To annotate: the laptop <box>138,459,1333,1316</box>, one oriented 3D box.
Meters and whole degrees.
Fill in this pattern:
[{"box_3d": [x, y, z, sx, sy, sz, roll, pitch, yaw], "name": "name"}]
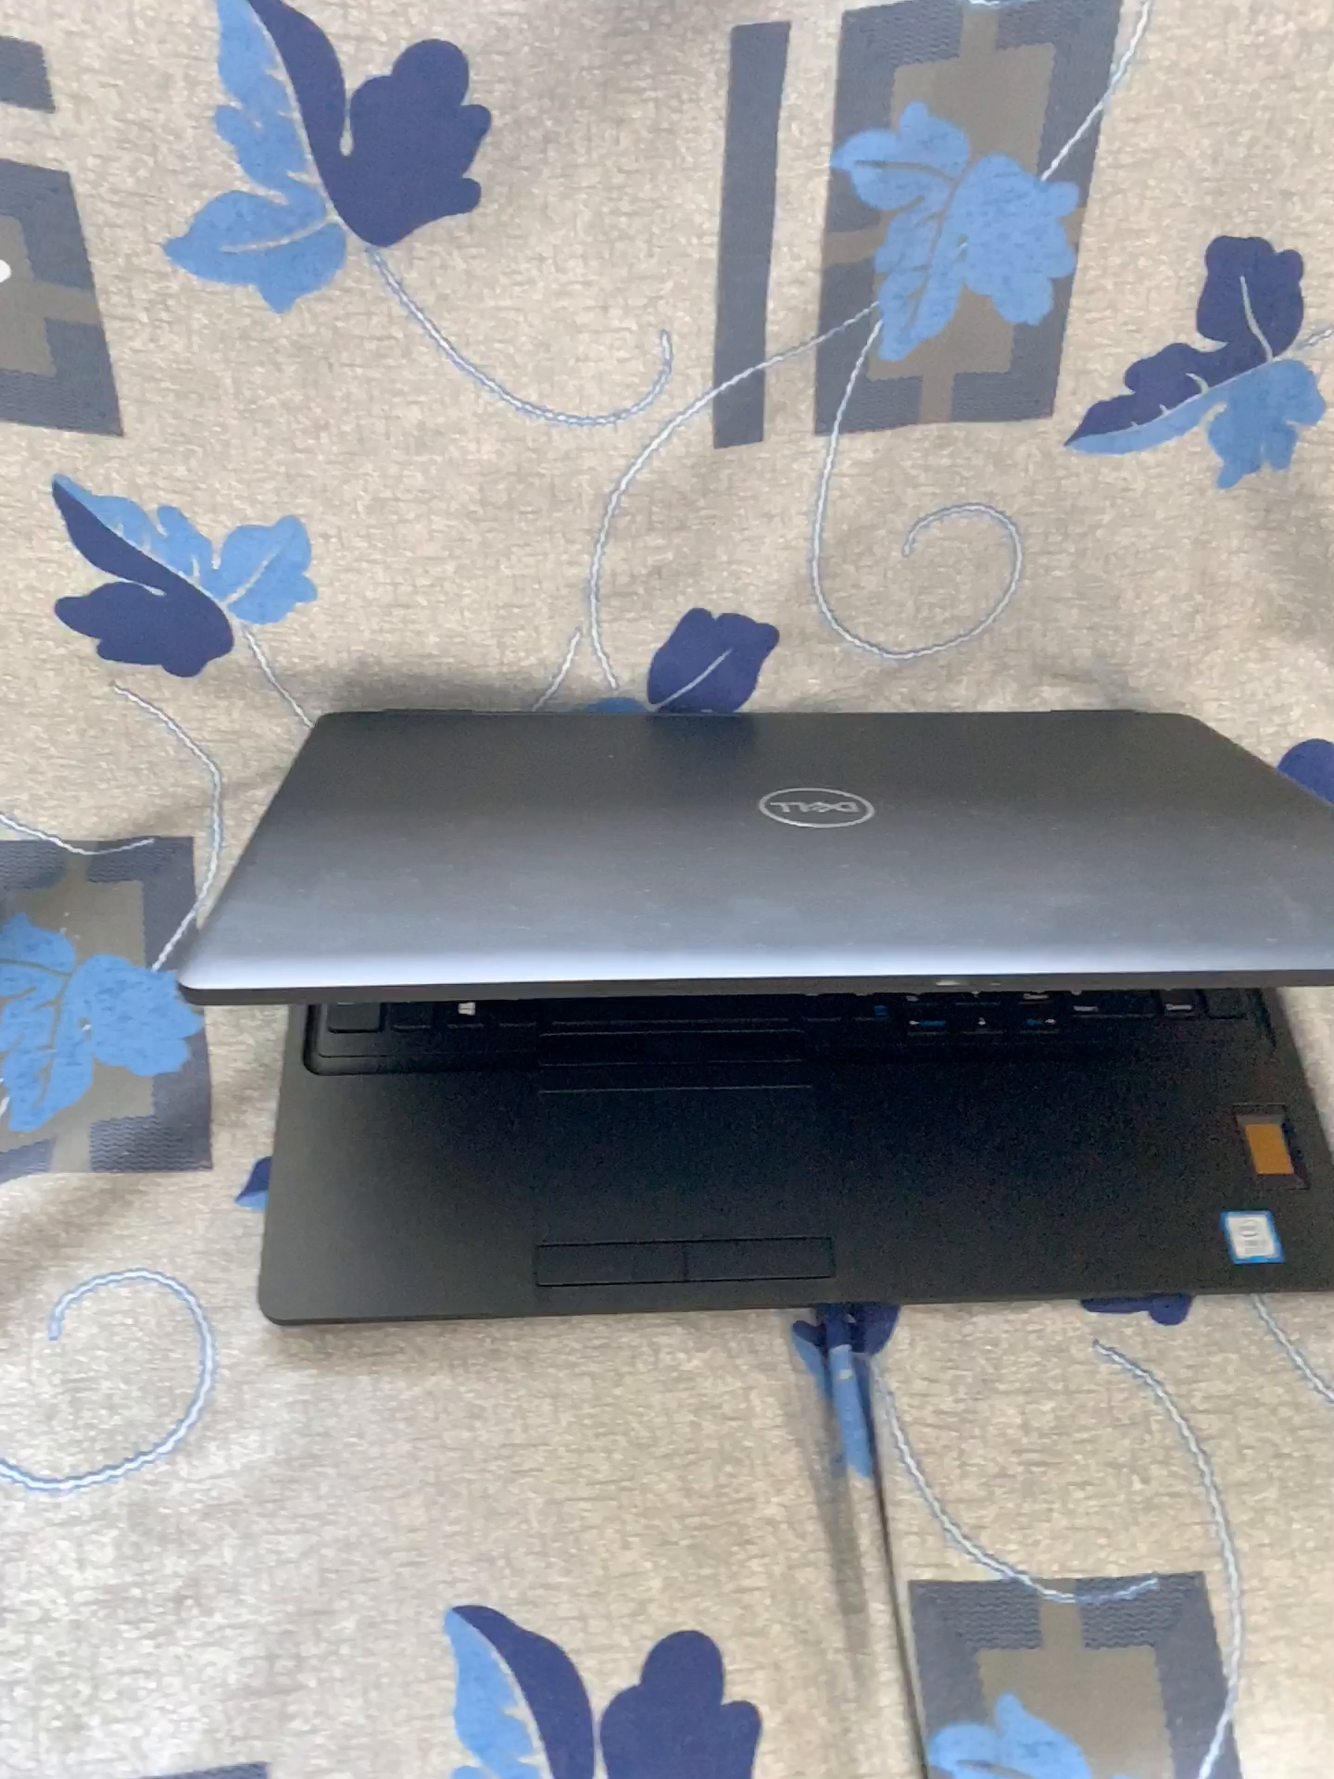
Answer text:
[{"box_3d": [0.053, -0.003, 0.451, 0.371, 0.142, 0.239, 0, 58, -4], "name": "laptop"}]
